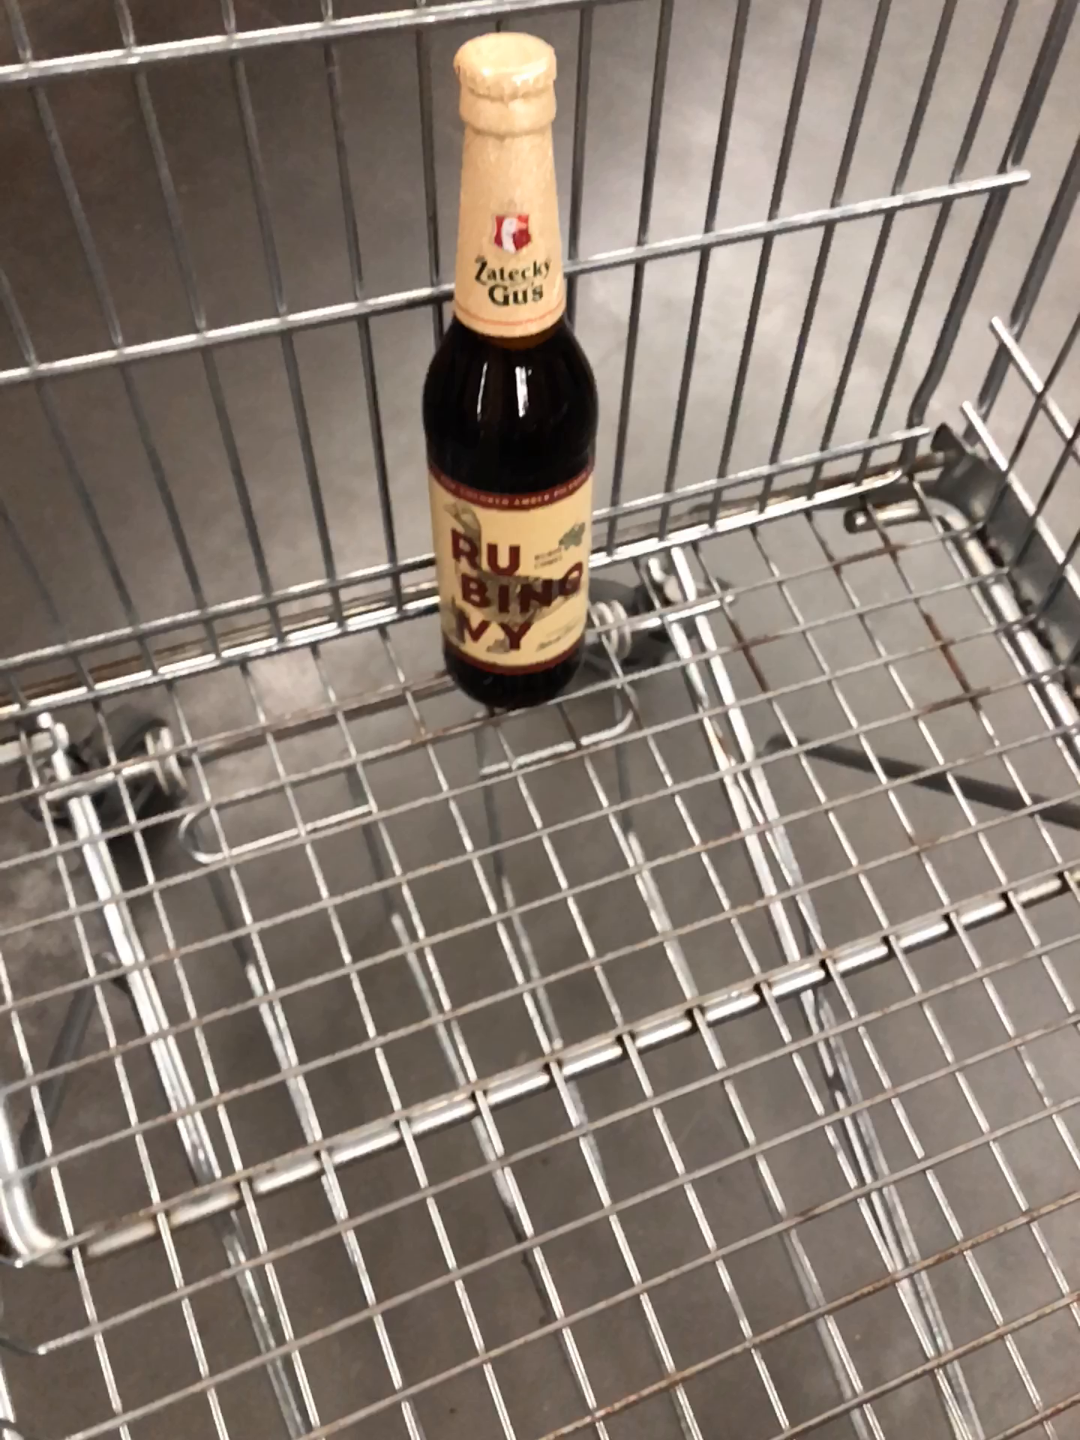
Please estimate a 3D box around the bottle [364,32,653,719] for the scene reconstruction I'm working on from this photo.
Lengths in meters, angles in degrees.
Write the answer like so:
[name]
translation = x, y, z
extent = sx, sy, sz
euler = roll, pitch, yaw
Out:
[bottle]
translation = -0.013, -0.111, 0.447
extent = 0.080, 0.239, 0.080
euler = 1, 48, -1
